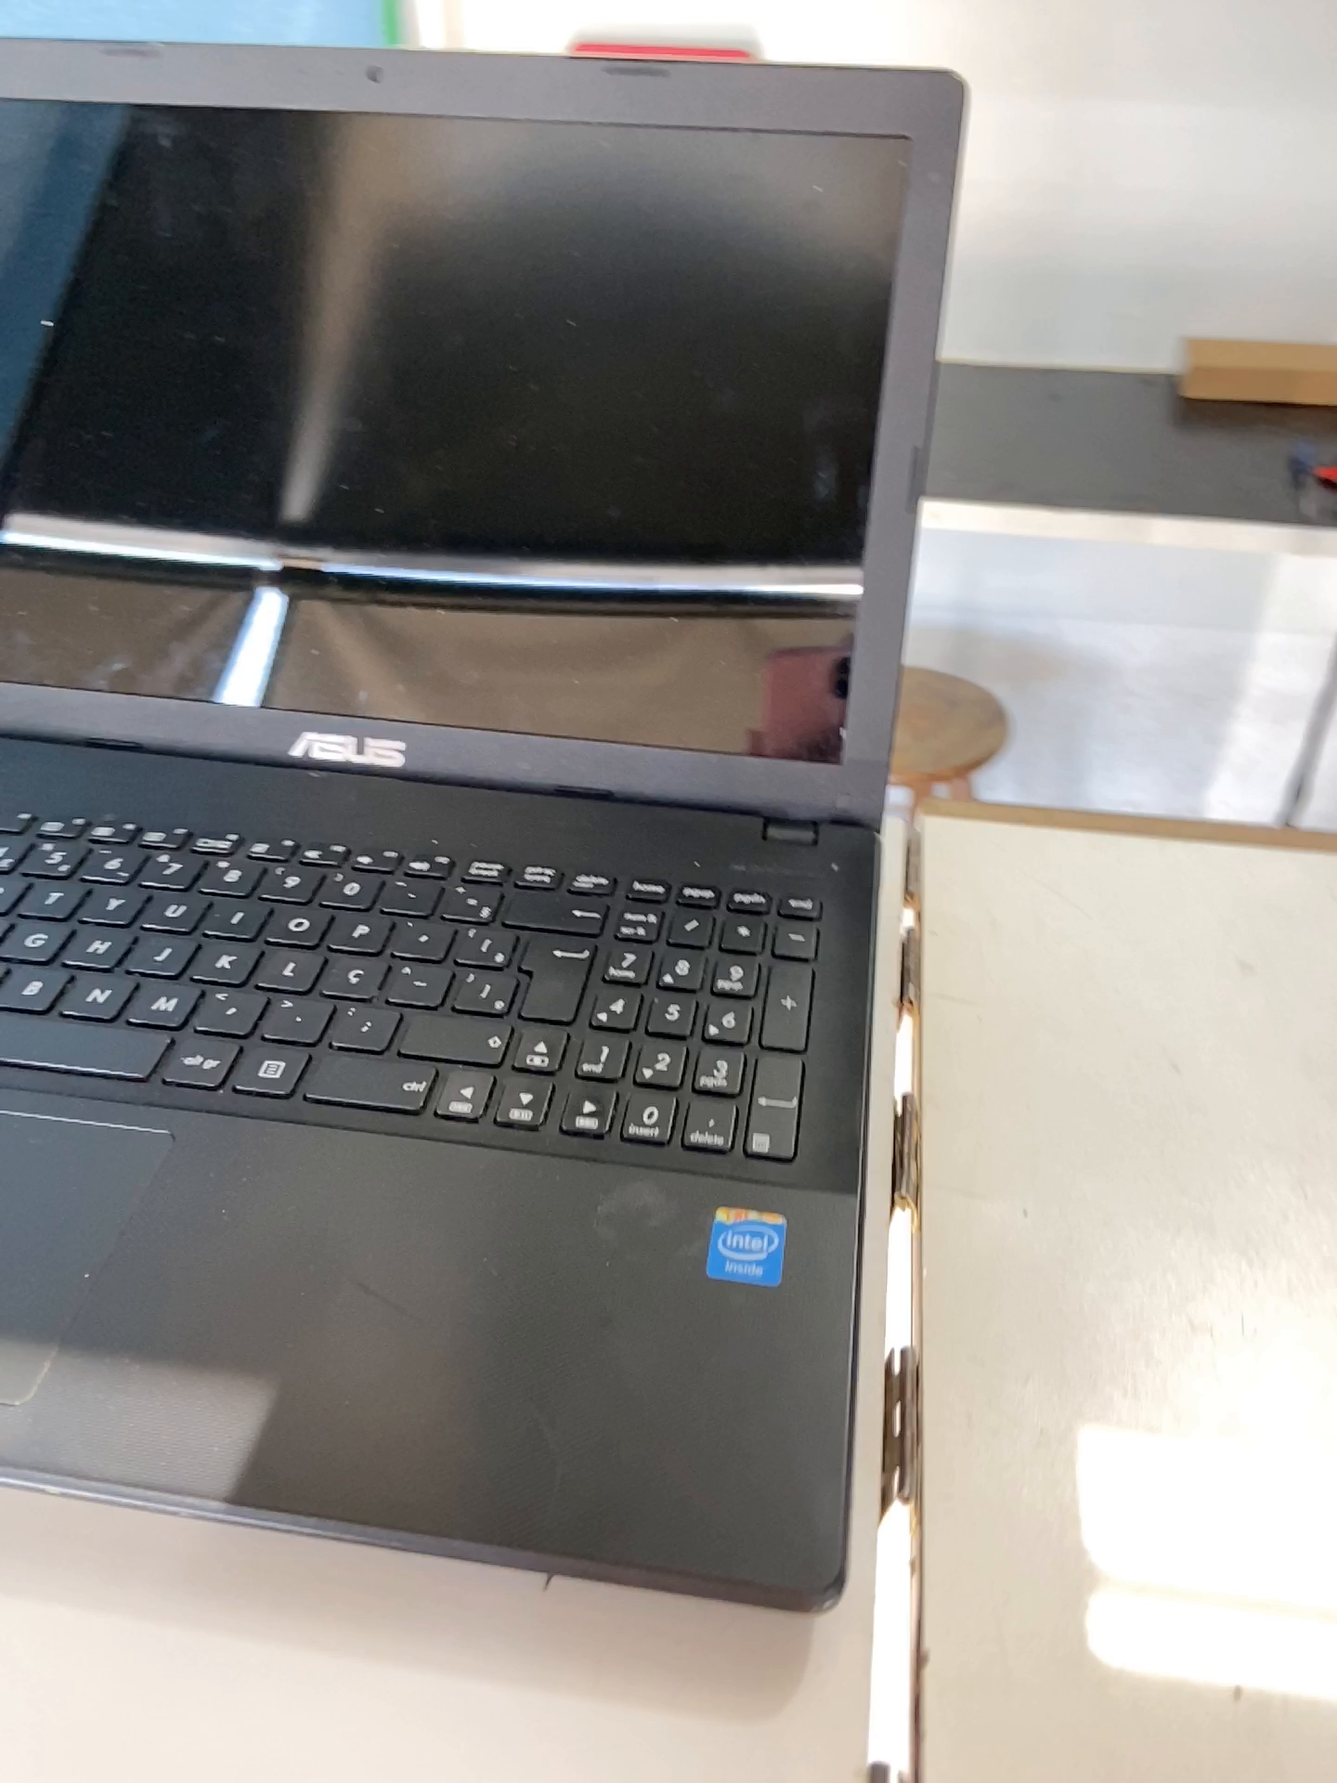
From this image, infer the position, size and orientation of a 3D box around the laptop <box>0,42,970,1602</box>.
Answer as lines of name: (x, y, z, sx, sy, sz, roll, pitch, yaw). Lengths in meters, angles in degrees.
laptop: (-0.120, -0.079, 0.358, 0.367, 0.200, 0.363, 6, 38, 8)
